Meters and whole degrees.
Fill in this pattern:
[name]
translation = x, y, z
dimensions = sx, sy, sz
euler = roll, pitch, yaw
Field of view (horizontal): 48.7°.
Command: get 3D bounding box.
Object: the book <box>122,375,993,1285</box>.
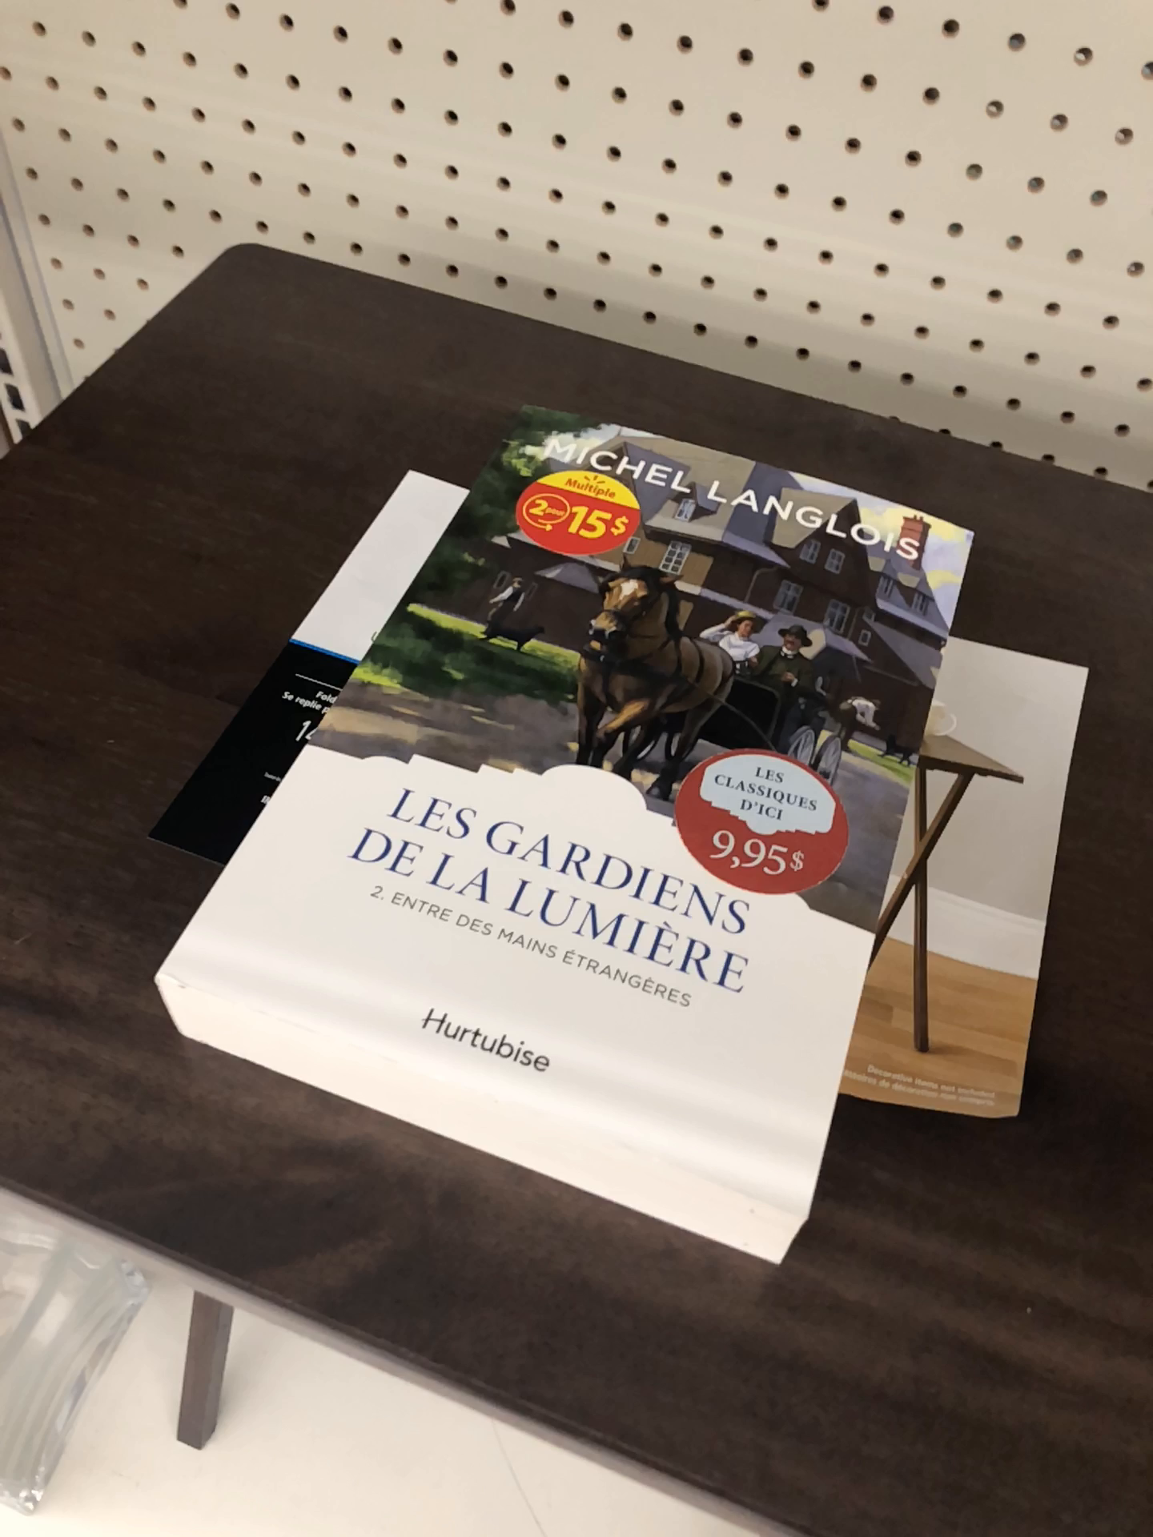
[book]
translation = 0.013, -0.007, 0.352
dimensions = 0.158, 0.039, 0.235
euler = 19, 53, 9
